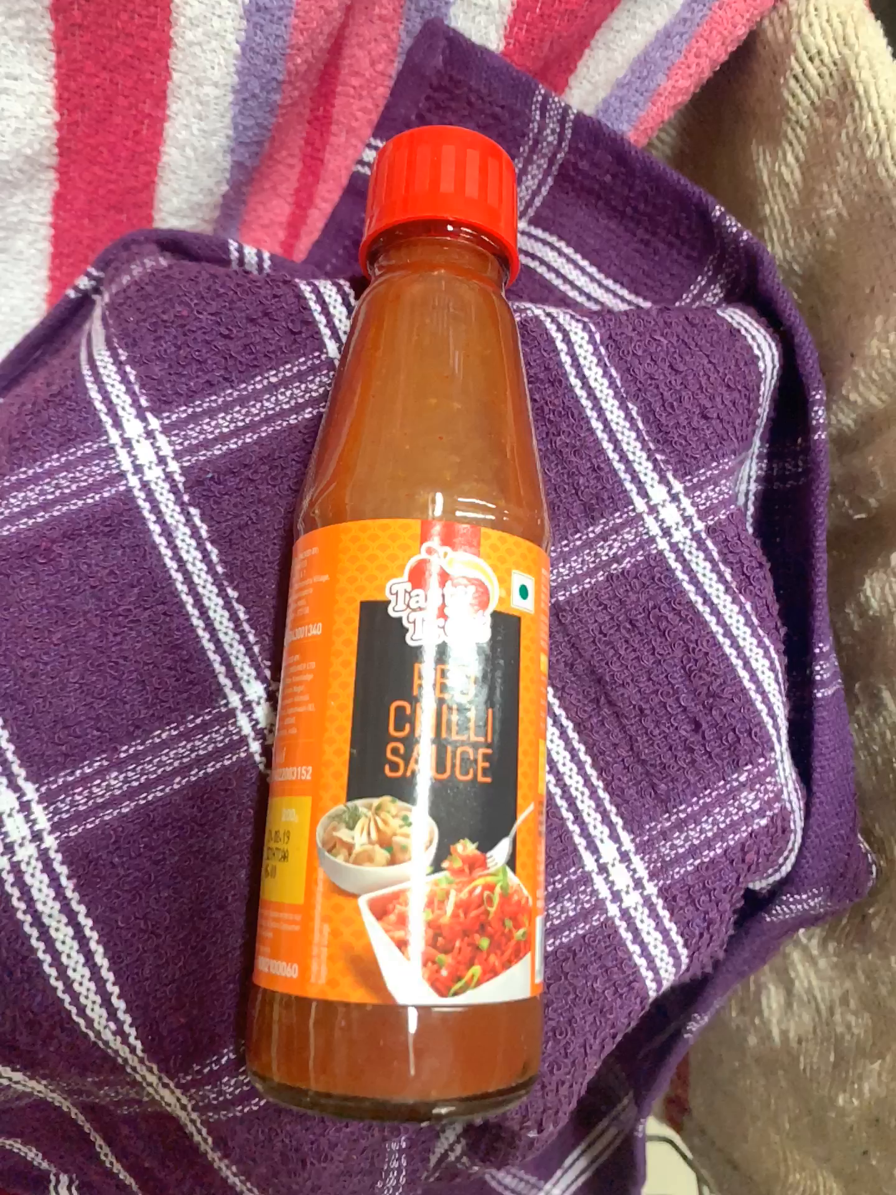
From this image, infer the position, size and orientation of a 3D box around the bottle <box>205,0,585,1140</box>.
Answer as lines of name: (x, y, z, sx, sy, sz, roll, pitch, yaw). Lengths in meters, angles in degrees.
bottle: (-0.006, -0.013, 0.161, 0.050, 0.040, 0.180, 3, 78, -6)
